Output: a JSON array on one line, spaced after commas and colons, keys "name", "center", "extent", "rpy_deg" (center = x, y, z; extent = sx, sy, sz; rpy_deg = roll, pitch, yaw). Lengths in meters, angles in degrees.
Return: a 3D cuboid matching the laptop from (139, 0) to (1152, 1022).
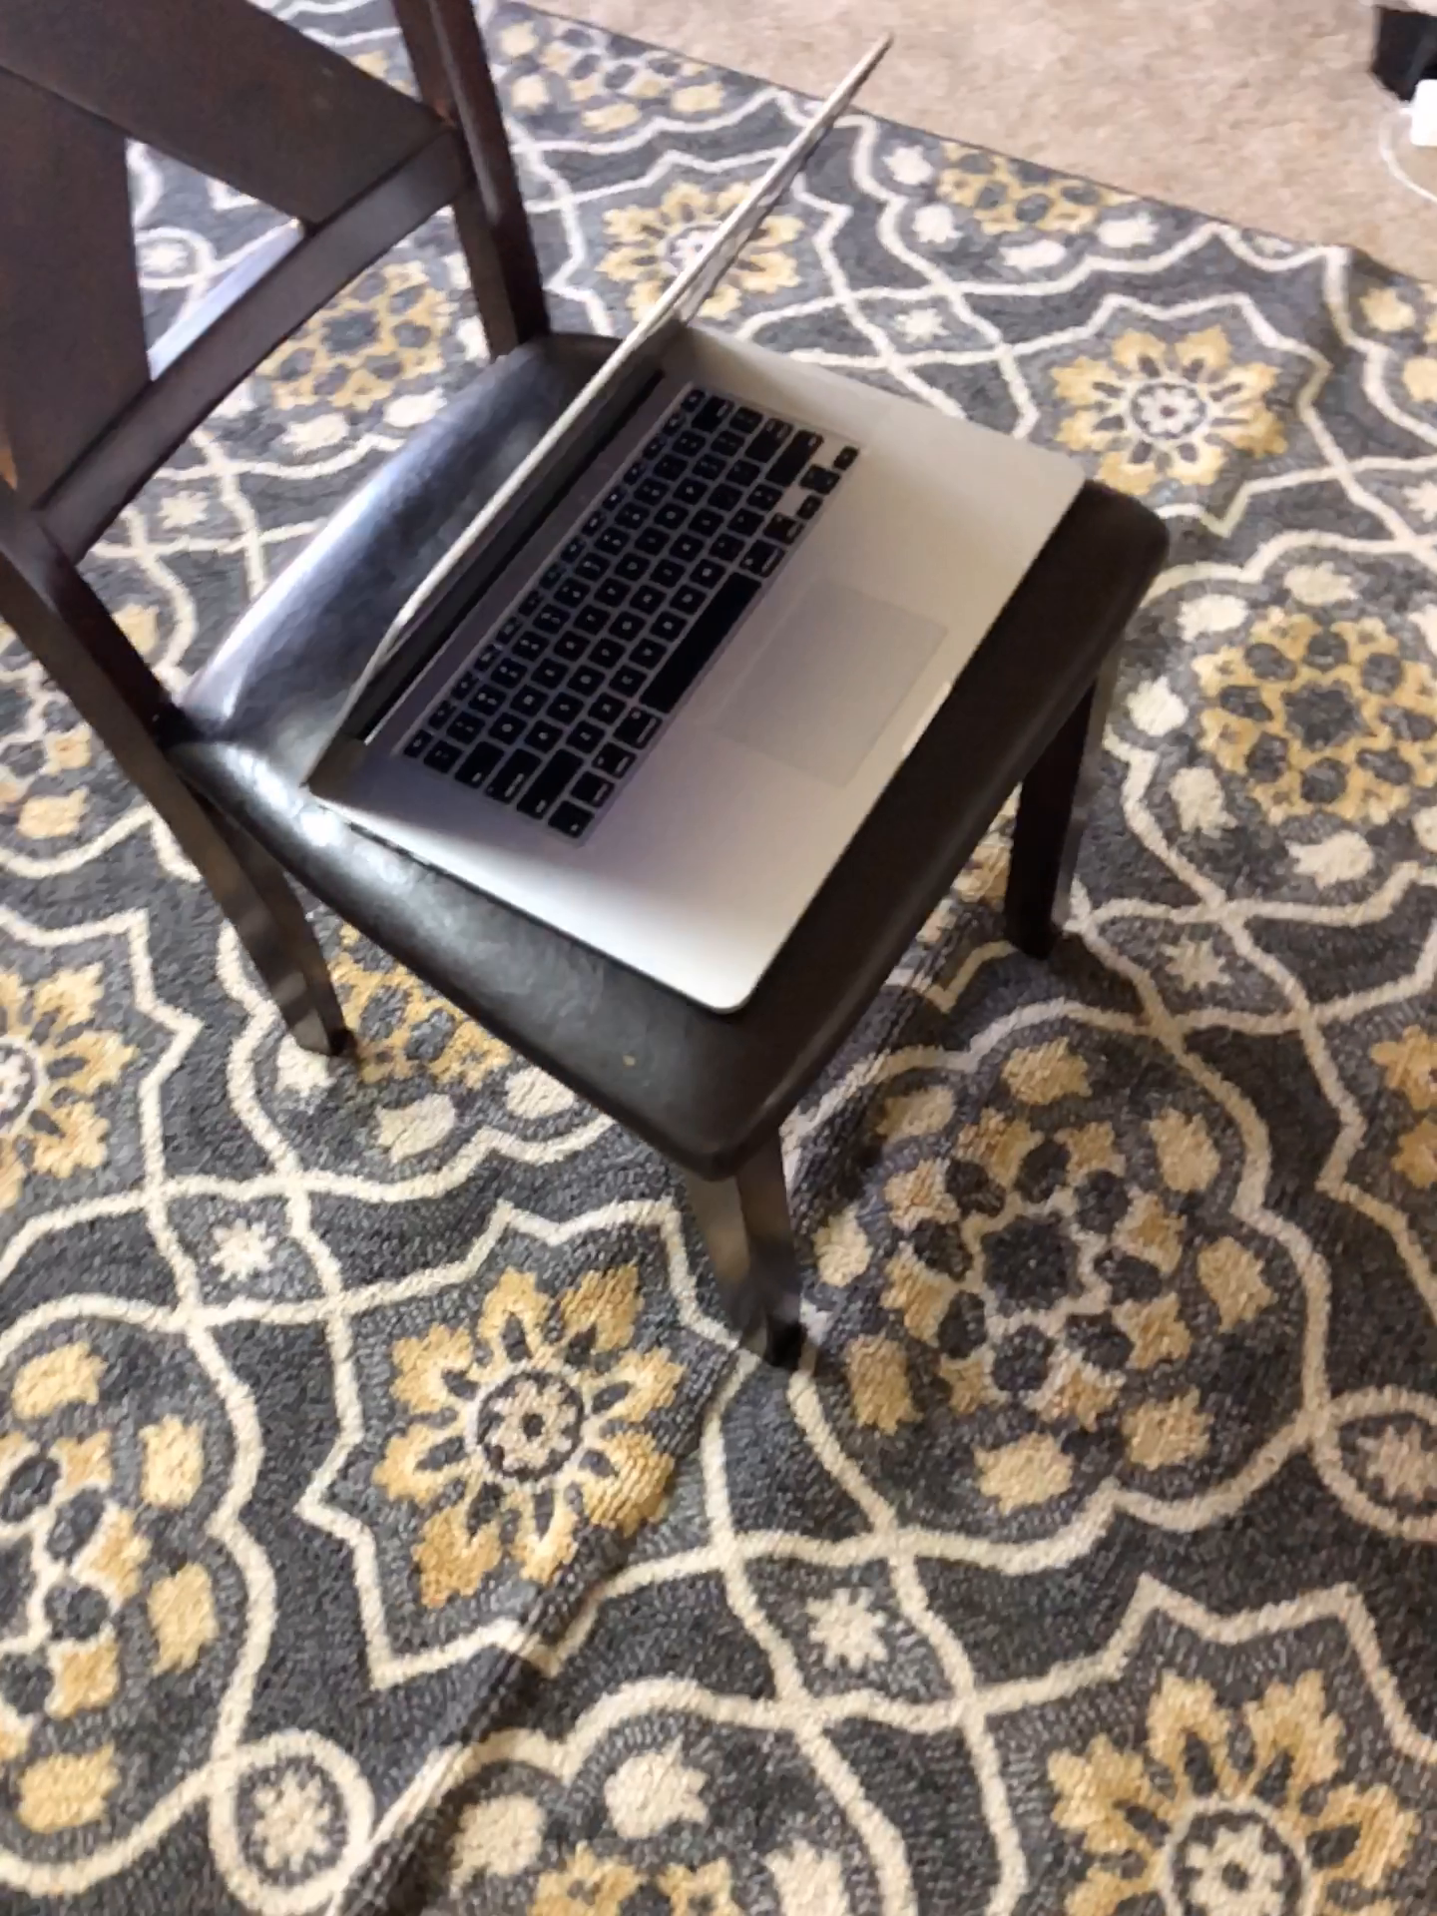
[{"name": "laptop", "center": [-0.011, -0.208, 0.681], "extent": [0.237, 0.200, 0.351], "rpy_deg": [26, 67, 18]}]
